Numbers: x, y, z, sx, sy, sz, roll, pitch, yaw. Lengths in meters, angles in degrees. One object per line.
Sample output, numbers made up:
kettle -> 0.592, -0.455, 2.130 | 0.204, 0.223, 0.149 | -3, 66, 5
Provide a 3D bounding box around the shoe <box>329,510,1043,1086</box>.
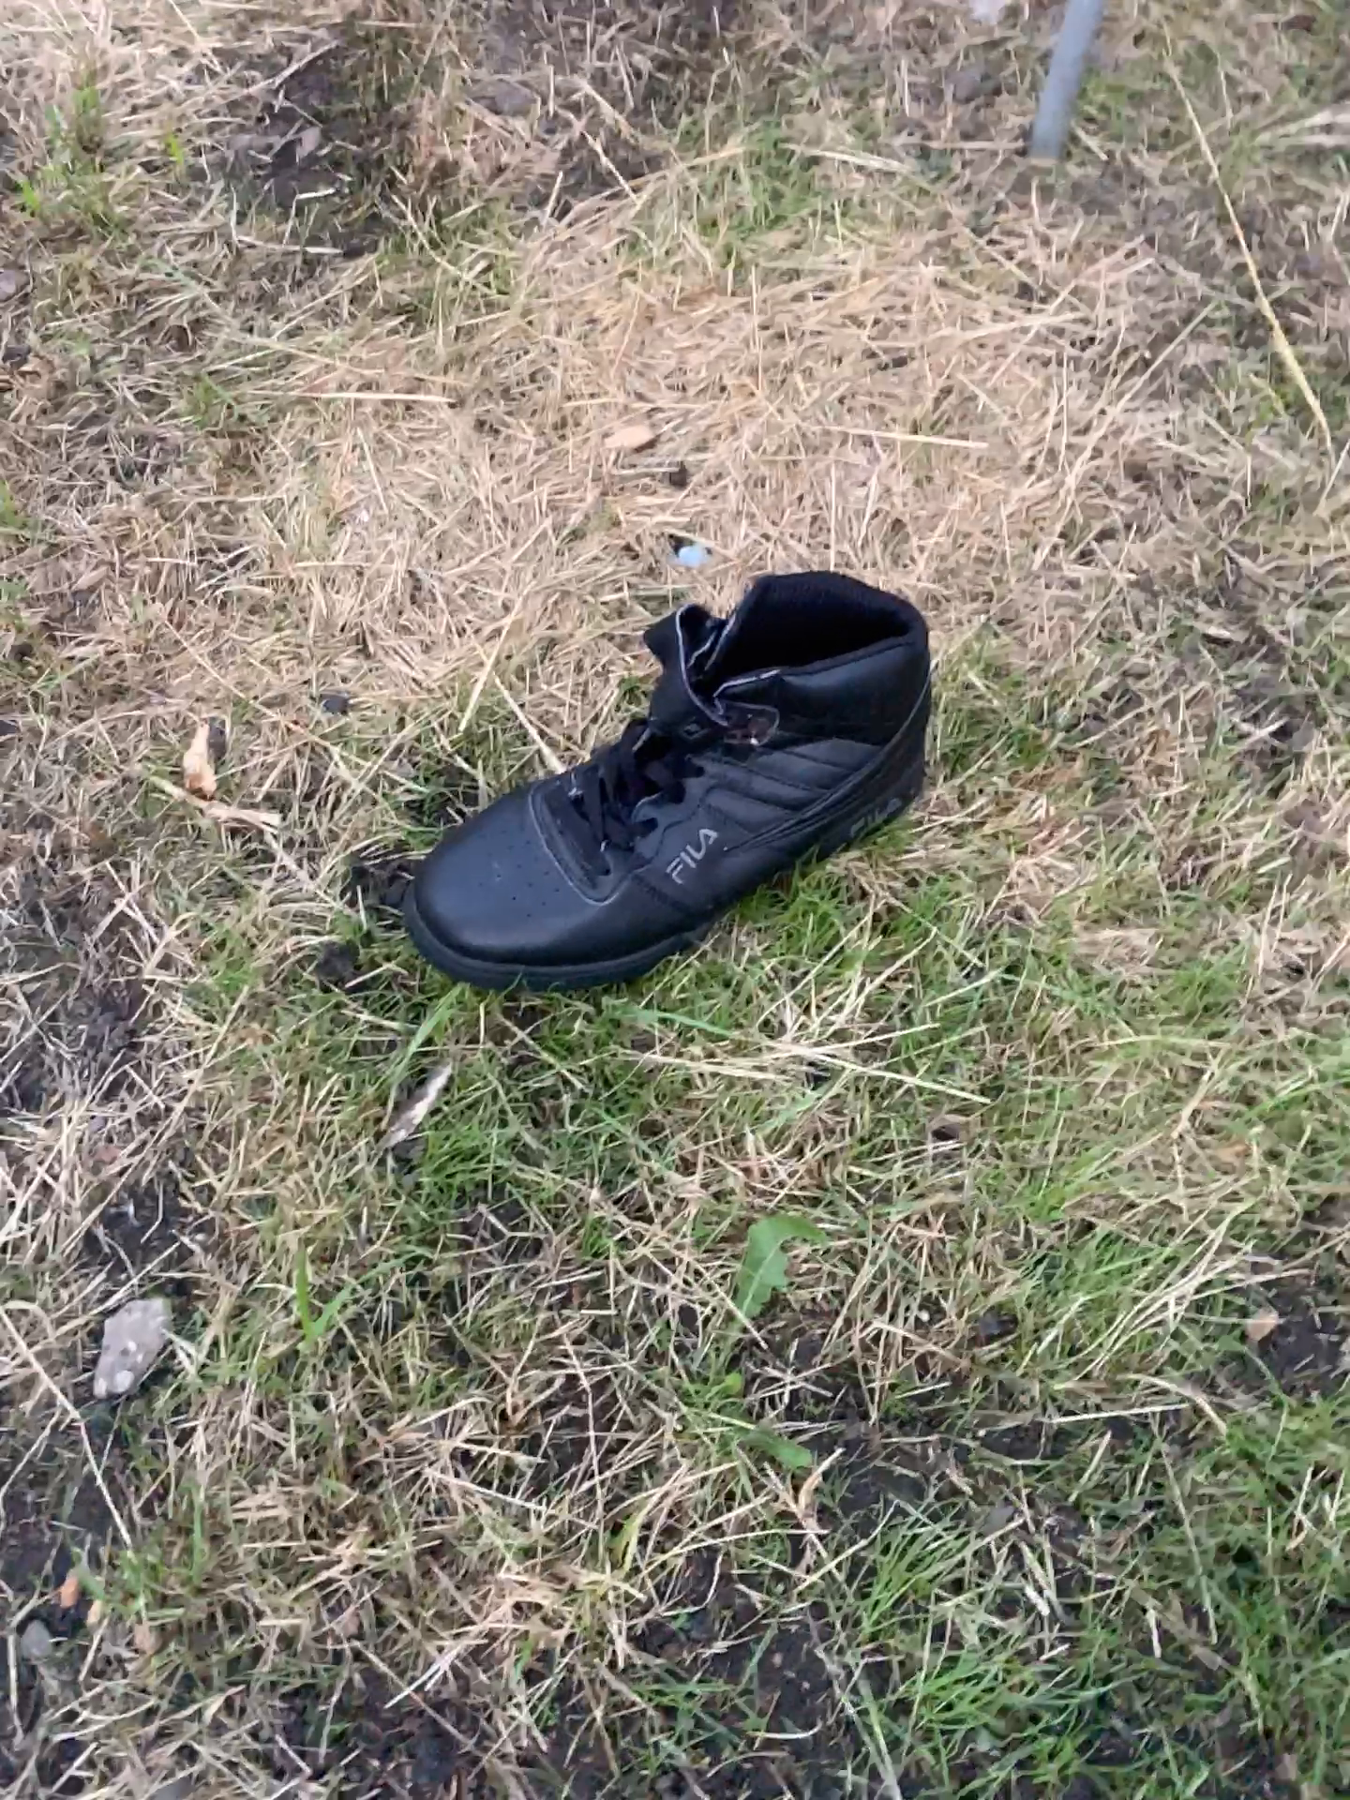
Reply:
shoe -> 0.006, -0.044, 0.611 | 0.270, 0.119, 0.110 | -27, 69, -12
